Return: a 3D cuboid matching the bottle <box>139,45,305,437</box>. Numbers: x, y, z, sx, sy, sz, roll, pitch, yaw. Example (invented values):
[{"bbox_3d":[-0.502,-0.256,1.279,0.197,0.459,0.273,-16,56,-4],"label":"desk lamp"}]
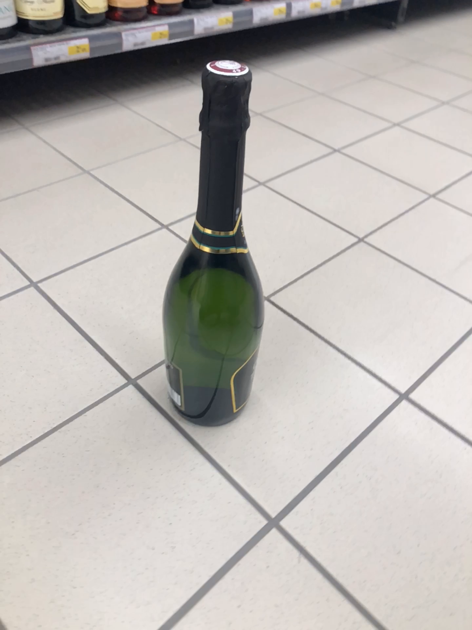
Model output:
[{"bbox_3d":[-0.019,-0.033,0.417,0.090,0.308,0.091,3,41,-3],"label":"bottle"}]
